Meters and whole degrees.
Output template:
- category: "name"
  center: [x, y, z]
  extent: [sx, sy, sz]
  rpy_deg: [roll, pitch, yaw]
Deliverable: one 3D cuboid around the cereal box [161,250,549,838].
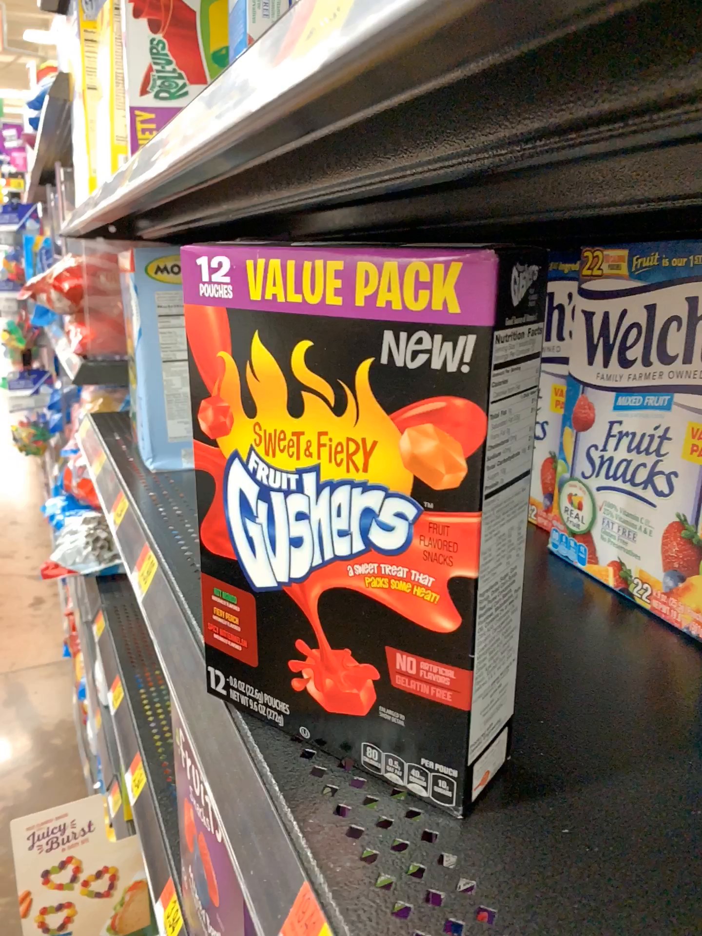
- category: "cereal box"
  center: [-0.003, 0.021, 0.314]
  extent: [0.150, 0.219, 0.050]
  rpy_deg: [12, 21, 35]
